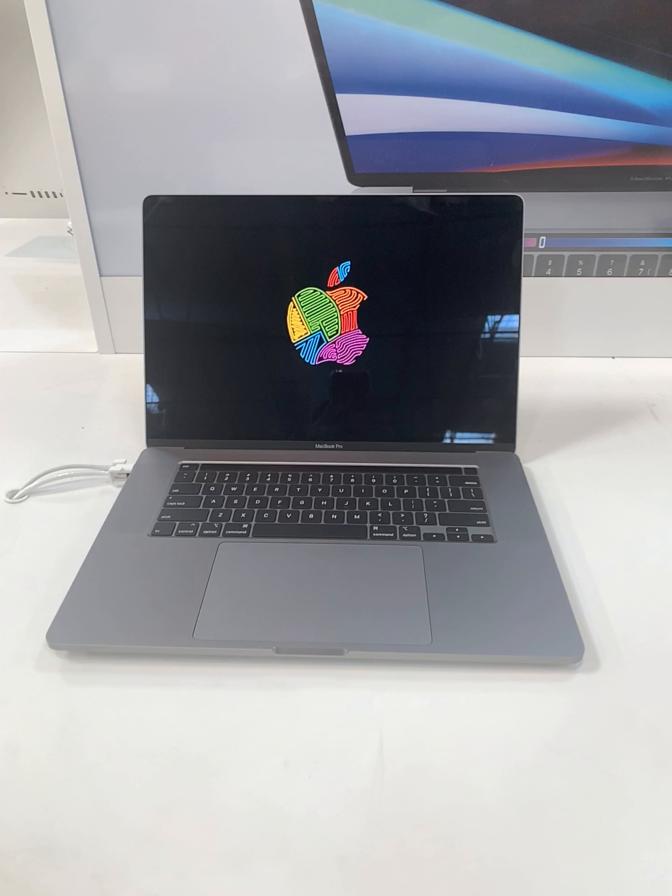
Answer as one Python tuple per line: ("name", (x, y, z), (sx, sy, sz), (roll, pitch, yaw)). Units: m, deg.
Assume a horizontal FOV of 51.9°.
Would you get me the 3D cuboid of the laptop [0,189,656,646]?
("laptop", (-0.009, -0.055, 0.532), (0.341, 0.203, 0.347), (0, 32, 2))
